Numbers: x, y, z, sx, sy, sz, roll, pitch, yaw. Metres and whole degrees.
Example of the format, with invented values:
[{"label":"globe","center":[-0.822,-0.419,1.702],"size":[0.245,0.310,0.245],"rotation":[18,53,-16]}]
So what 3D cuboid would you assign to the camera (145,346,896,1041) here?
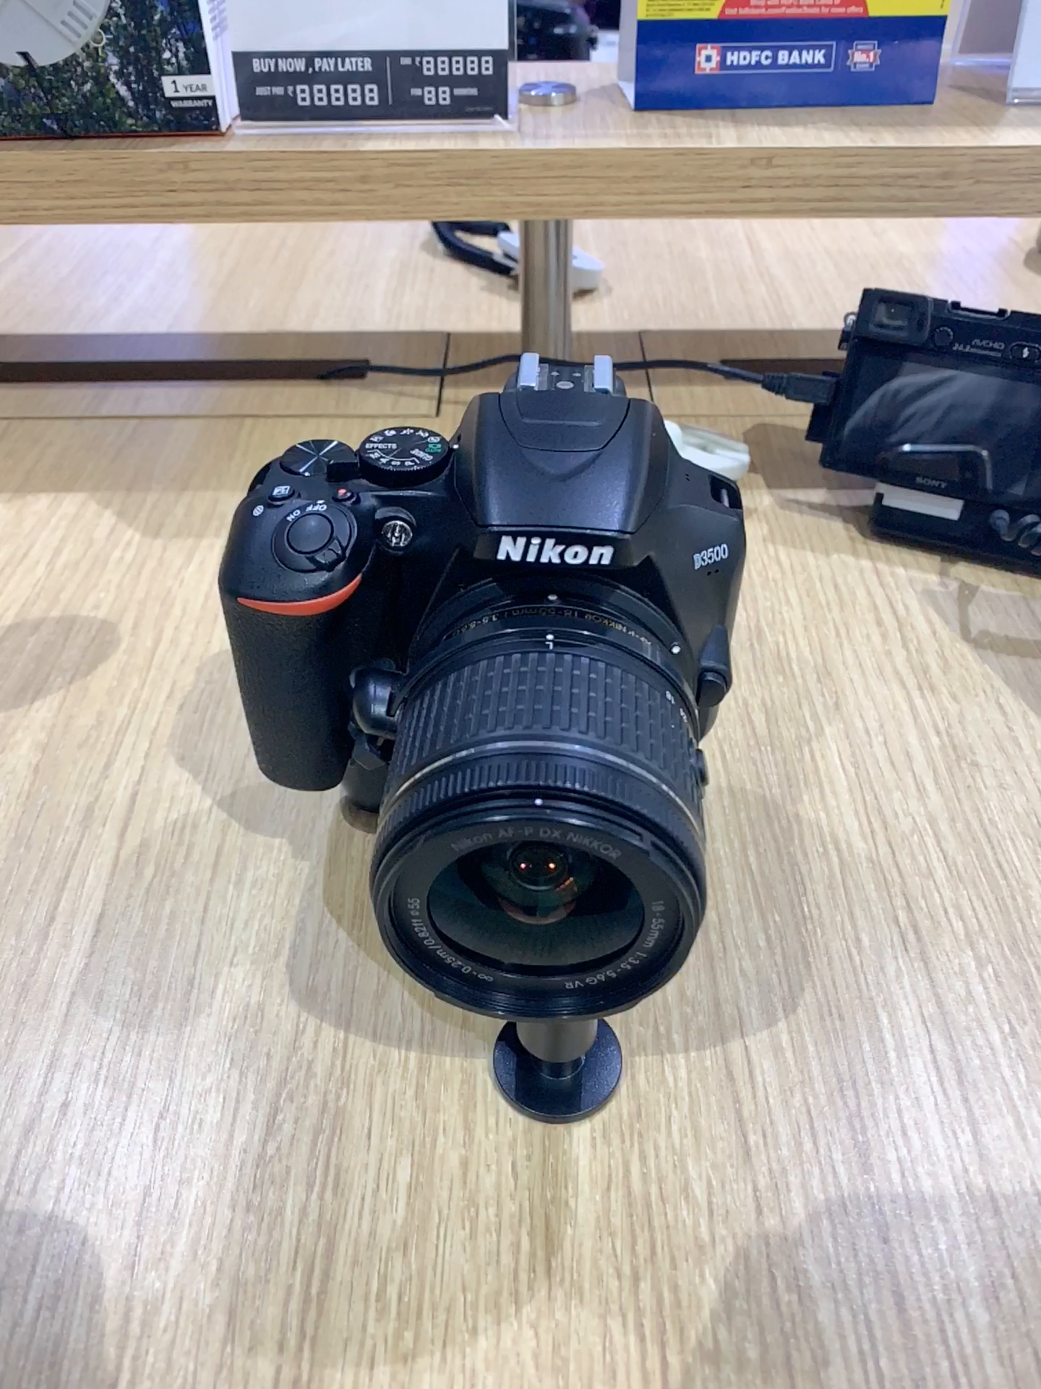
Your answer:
[{"label":"camera","center":[0.002,-0.004,0.215],"size":[0.102,0.091,0.104],"rotation":[1,41,2]}]
